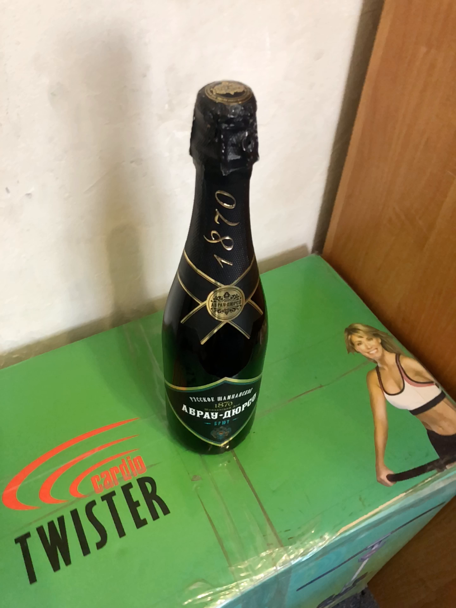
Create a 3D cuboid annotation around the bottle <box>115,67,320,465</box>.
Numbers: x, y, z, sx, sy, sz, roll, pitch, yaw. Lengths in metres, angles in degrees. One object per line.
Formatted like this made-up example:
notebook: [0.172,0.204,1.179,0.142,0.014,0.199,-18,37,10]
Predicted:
bottle: [-0.013,0.003,0.361,0.090,0.300,0.090,1,48,-1]
